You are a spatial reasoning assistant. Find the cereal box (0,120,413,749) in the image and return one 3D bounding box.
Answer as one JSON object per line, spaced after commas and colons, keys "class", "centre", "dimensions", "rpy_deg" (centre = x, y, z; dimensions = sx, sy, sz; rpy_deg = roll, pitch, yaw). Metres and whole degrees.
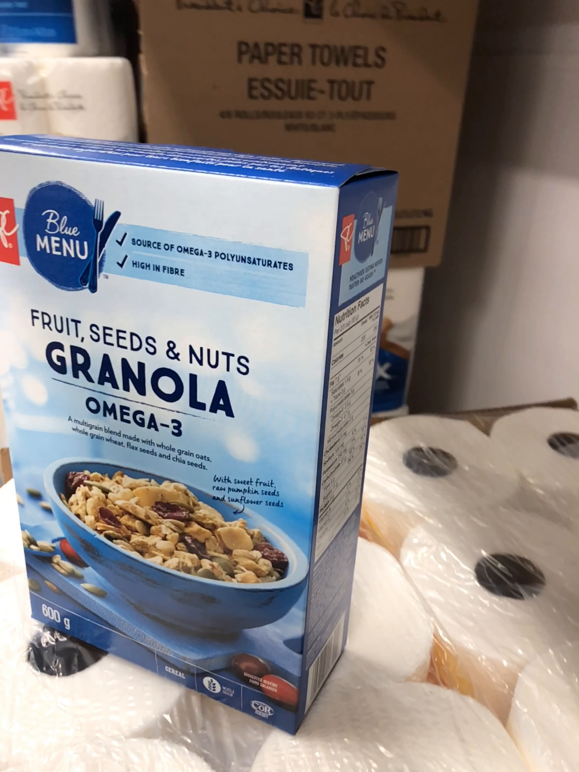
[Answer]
{"class": "cereal box", "centre": [-0.046, 0.017, 0.284], "dimensions": [0.160, 0.239, 0.060], "rpy_deg": [13, 26, 24]}
